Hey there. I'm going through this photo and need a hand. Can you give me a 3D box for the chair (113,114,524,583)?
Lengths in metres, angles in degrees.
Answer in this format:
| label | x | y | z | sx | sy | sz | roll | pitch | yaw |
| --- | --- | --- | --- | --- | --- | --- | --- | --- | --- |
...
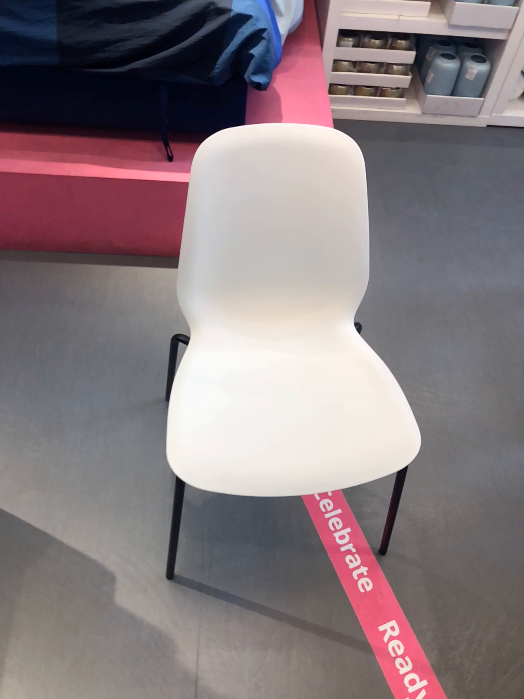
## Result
| label | x | y | z | sx | sy | sz | roll | pitch | yaw |
| --- | --- | --- | --- | --- | --- | --- | --- | --- | --- |
| chair | 0.035 | 0.042 | 1.091 | 0.510 | 0.756 | 0.493 | -4 | 52 | -8 |
